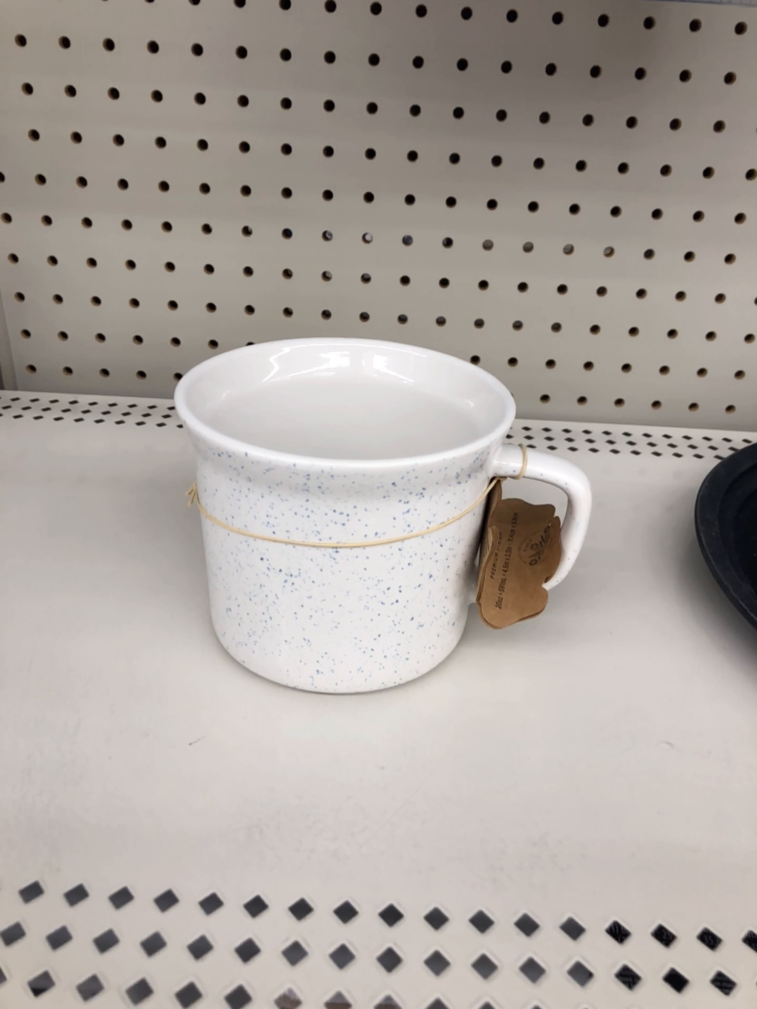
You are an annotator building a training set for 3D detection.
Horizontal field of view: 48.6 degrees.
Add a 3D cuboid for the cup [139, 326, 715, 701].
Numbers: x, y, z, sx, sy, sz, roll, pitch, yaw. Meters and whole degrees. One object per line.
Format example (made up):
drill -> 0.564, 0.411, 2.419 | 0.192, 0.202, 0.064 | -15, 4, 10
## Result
cup -> 0.011, -0.001, 0.297 | 0.159, 0.090, 0.102 | 1, 29, -2
